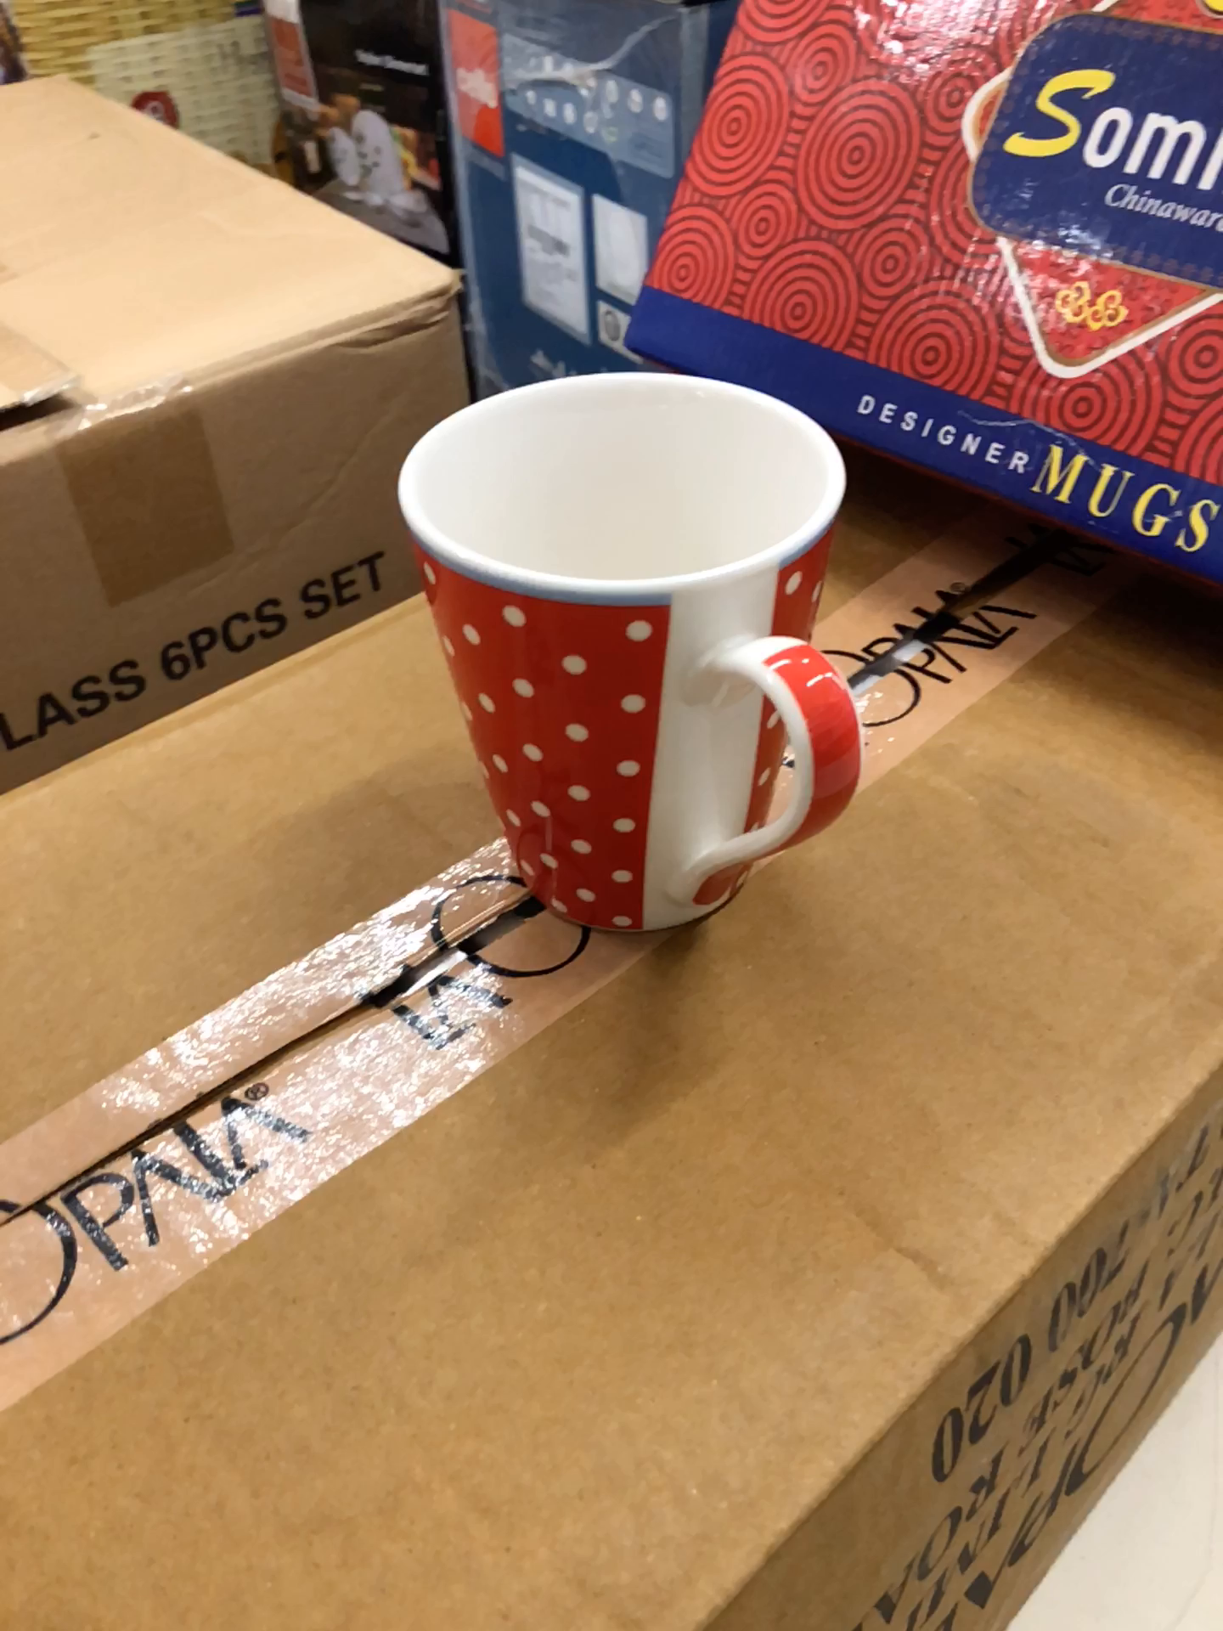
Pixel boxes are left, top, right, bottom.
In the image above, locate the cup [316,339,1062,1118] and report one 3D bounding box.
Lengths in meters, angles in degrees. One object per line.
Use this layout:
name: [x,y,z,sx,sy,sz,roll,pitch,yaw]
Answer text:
cup: [0.010,-0.025,0.277,0.080,0.089,0.120,-26,46,-24]
